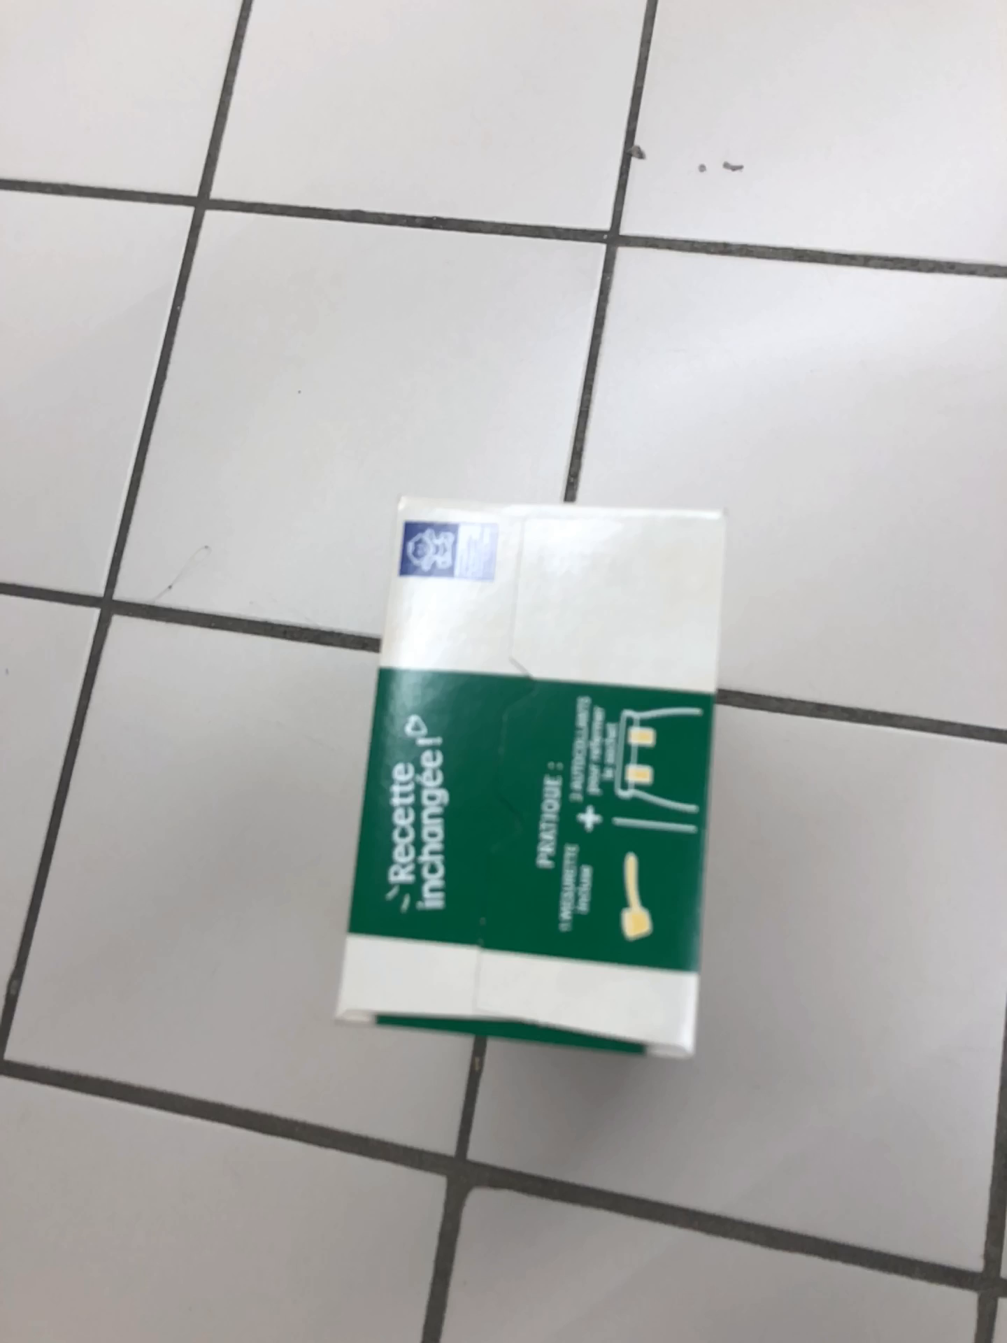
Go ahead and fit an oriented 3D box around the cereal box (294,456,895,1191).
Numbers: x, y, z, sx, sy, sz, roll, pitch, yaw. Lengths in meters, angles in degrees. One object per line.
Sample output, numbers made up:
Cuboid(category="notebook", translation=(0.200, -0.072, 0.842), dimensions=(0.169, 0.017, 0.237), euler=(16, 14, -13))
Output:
Cuboid(category="cereal box", translation=(0.034, 0.046, 0.338), dimensions=(0.120, 0.200, 0.150), euler=(4, 79, 8))
